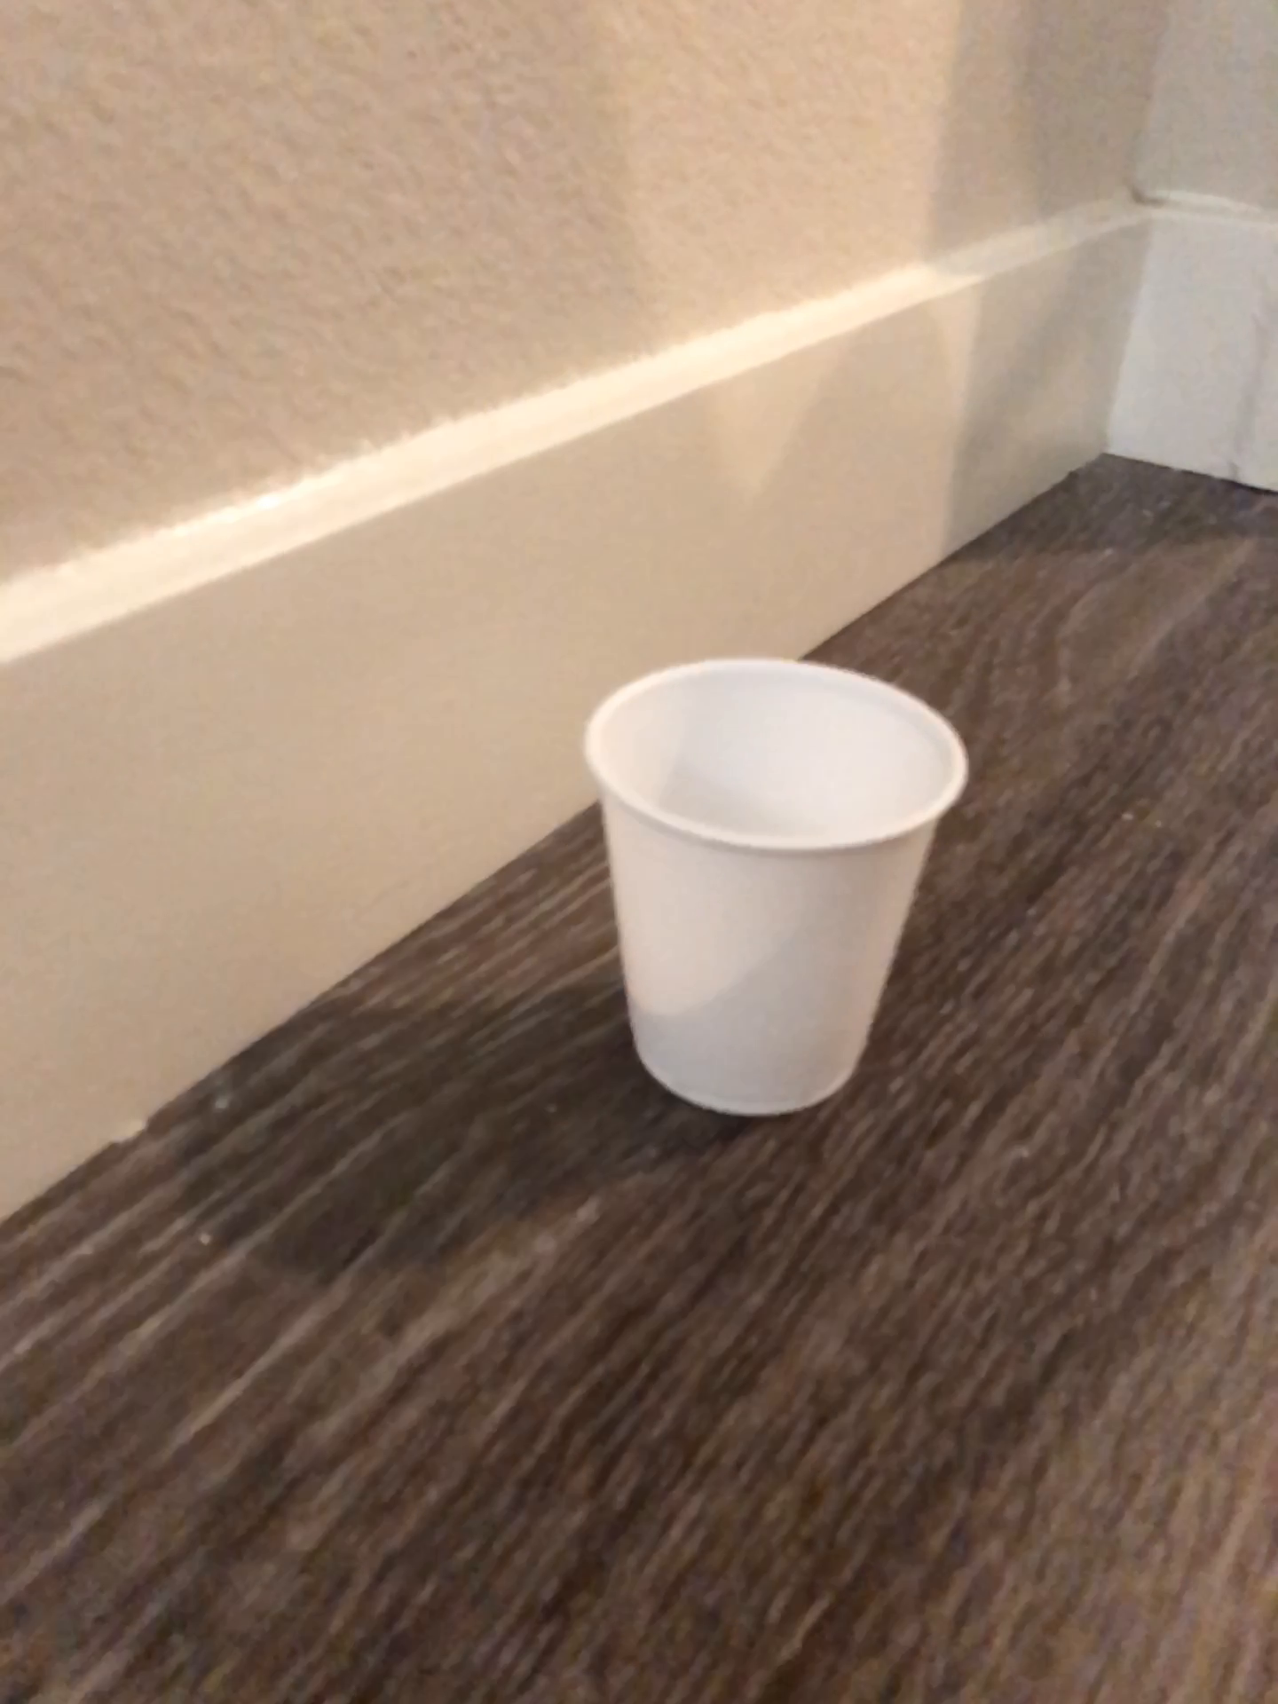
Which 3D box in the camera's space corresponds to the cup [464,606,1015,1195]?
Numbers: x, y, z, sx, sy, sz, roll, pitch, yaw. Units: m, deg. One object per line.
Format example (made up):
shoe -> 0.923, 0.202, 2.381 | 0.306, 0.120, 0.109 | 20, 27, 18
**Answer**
cup -> 0.013, 0.004, 0.231 | 0.060, 0.060, 0.060 | 1, 33, -1
